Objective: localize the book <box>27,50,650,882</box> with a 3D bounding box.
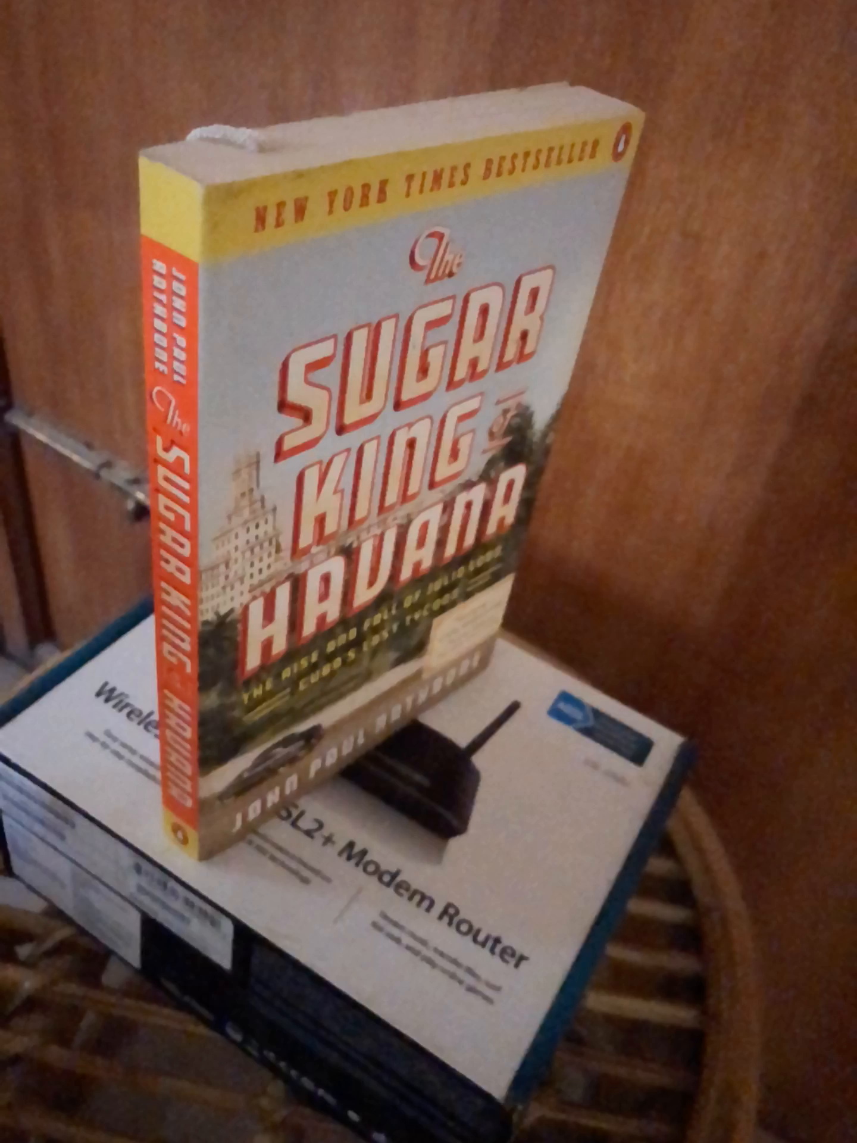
[{"bbox_3d":[-0.019,-0.023,0.275,0.151,0.209,0.030,-29,53,-36],"label":"book"}]
